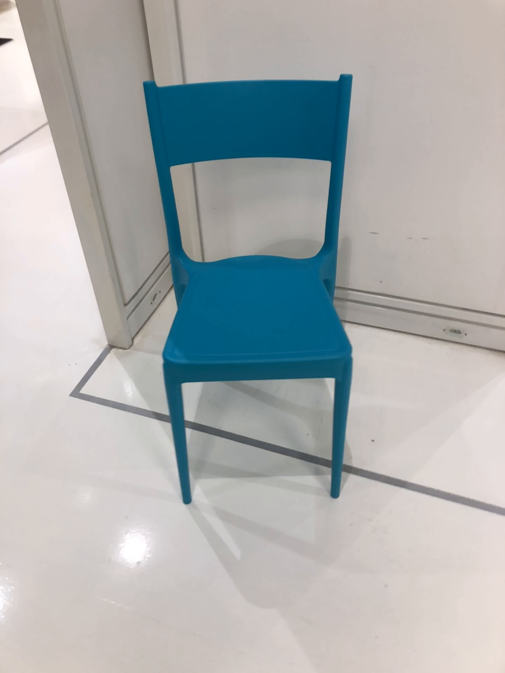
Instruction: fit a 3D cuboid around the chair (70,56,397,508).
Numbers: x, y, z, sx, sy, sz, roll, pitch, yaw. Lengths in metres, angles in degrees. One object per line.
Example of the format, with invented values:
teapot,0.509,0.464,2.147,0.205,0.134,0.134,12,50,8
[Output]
chair,-0.014,-0.088,1.183,0.430,0.794,0.514,-2,41,1
